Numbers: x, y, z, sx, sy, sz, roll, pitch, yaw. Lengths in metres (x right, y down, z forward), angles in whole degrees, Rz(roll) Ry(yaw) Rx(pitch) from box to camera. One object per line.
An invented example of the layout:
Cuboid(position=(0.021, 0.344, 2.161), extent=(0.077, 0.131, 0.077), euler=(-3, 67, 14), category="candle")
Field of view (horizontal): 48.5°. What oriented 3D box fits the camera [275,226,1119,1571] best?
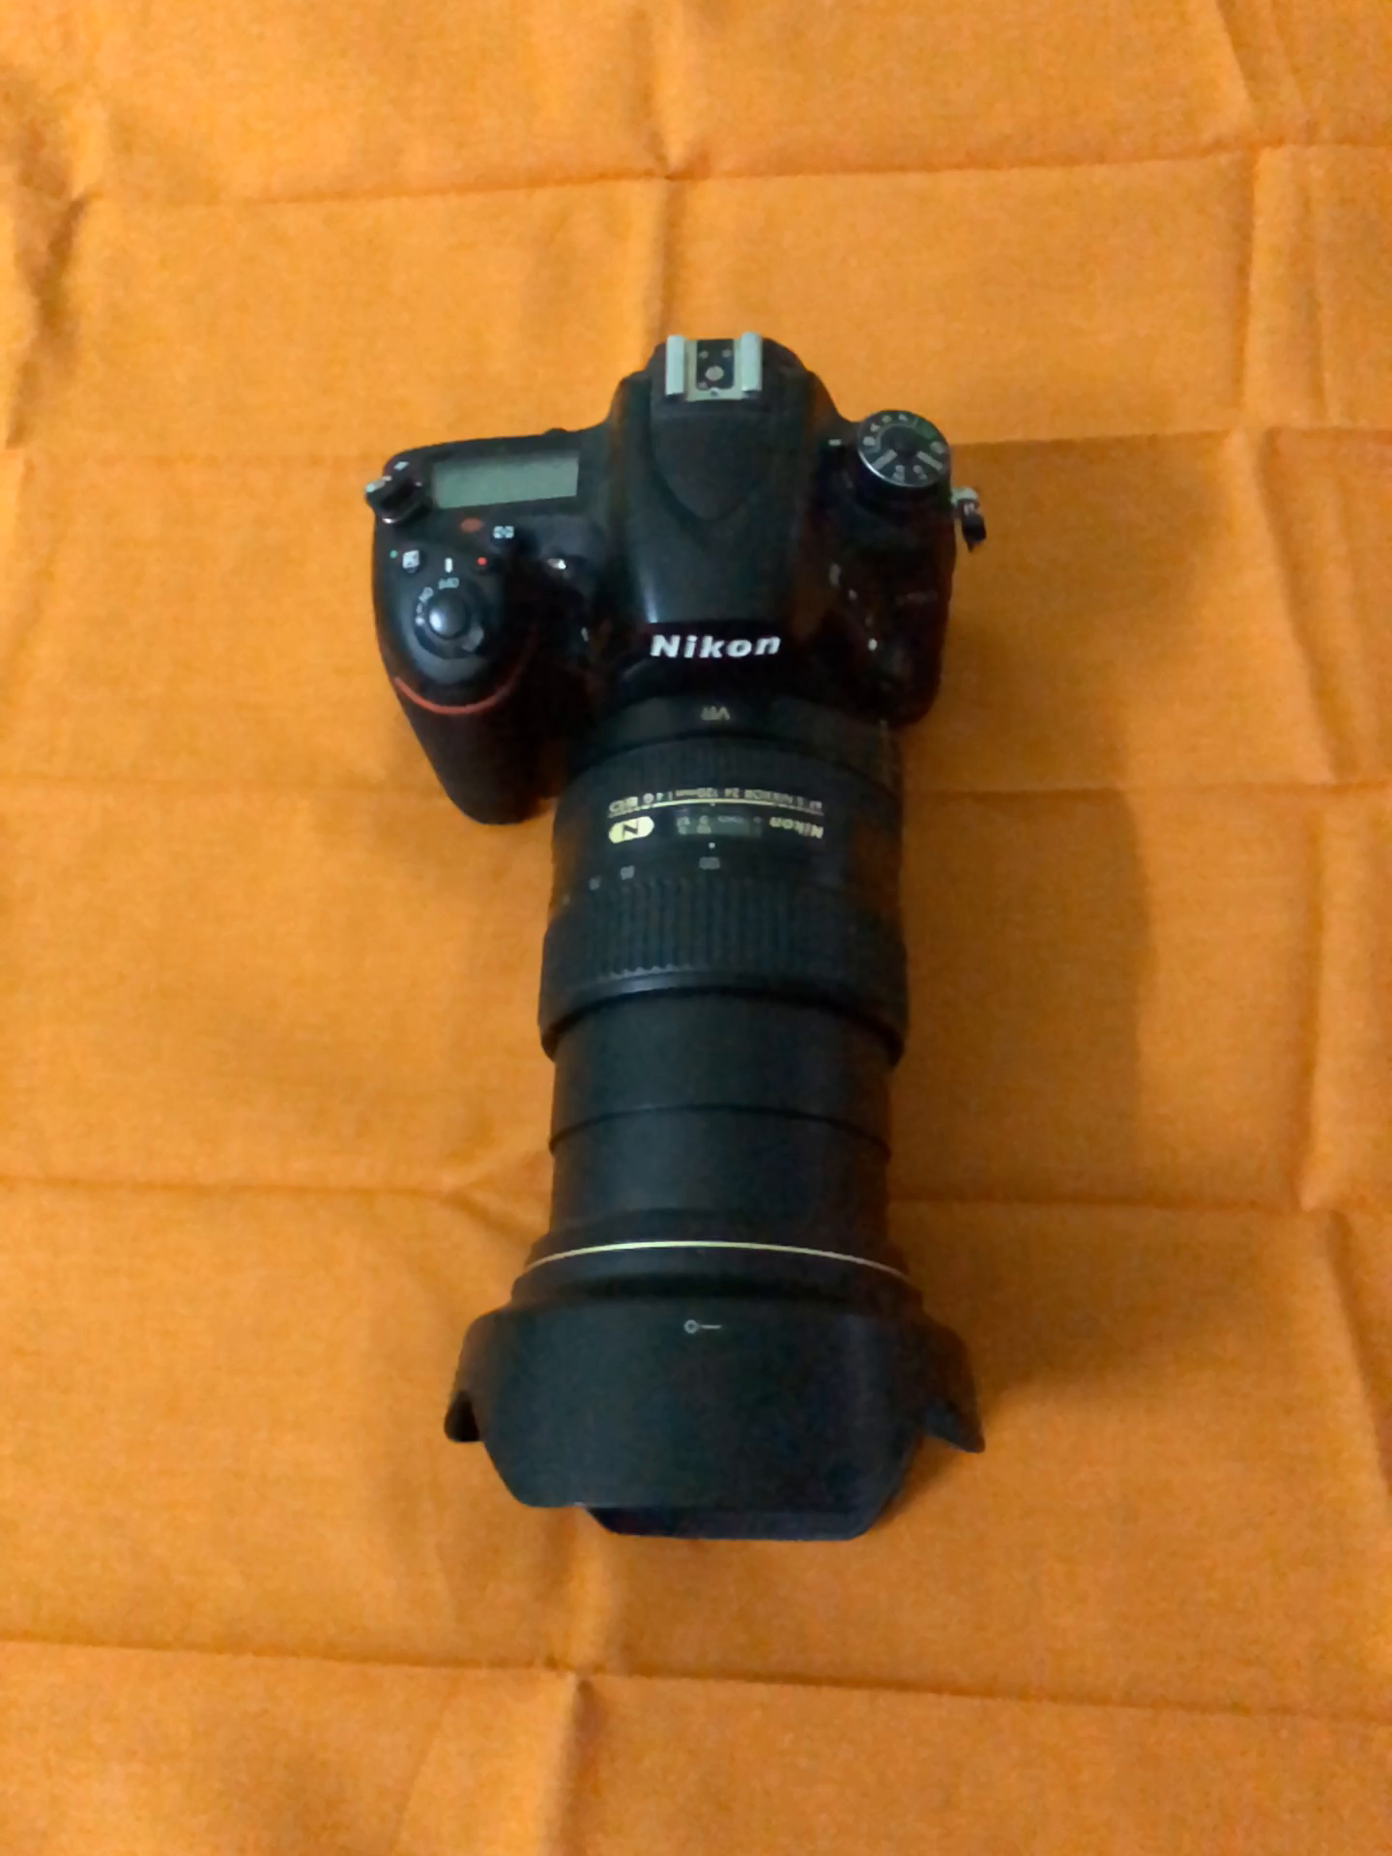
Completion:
Cuboid(position=(0.003, -0.003, 0.342), extent=(0.130, 0.120, 0.264), euler=(-2, 69, 5), category="camera")
